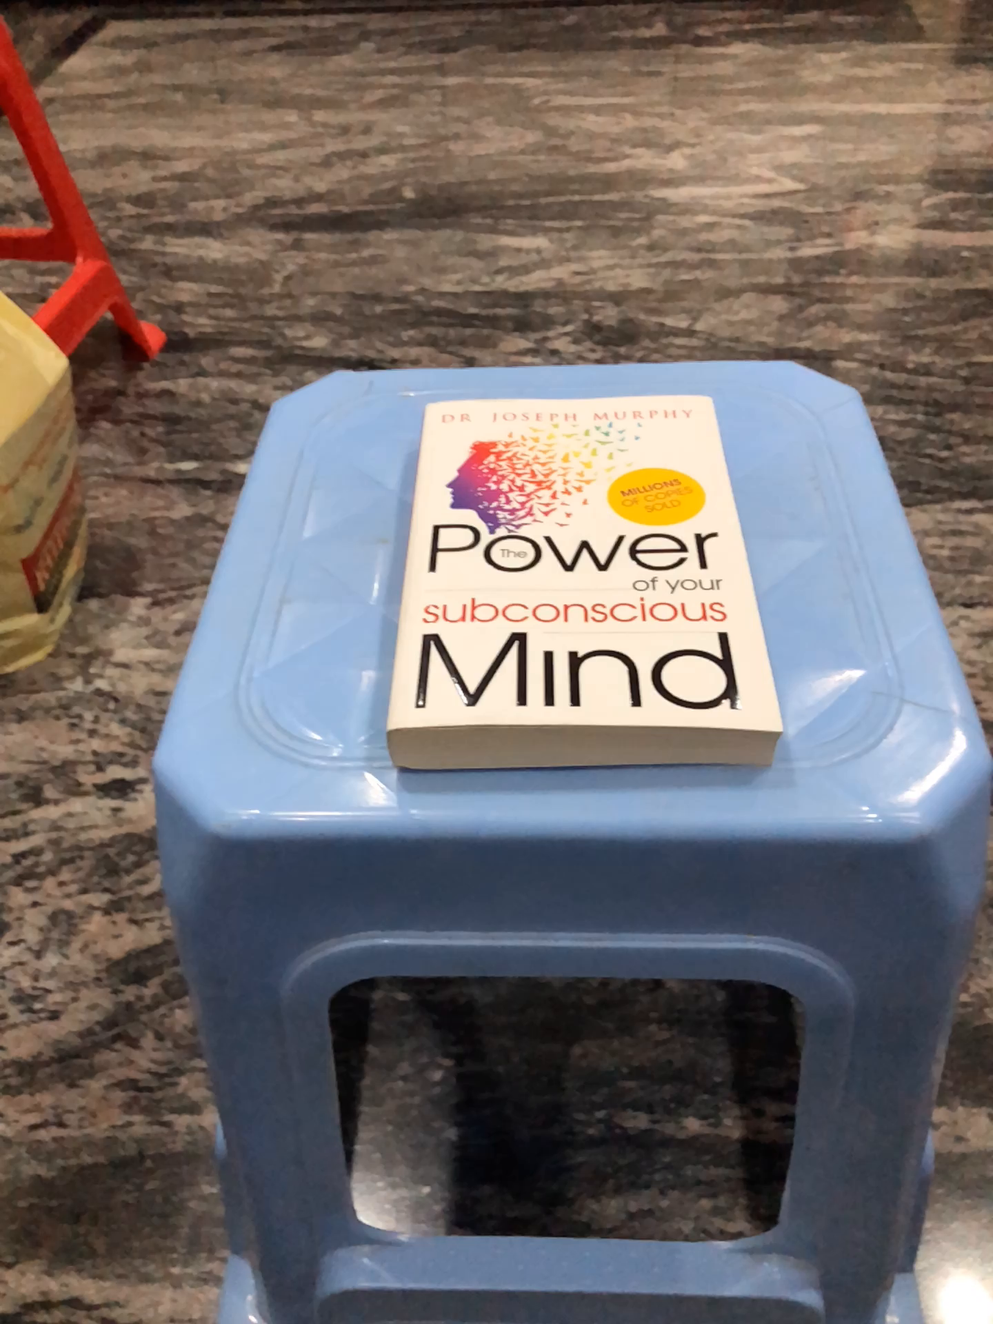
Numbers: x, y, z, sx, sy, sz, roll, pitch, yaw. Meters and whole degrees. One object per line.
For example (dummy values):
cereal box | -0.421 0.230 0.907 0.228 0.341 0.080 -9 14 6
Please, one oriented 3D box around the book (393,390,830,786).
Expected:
book | 0.038 -0.040 0.436 0.140 0.030 0.201 -2 44 2
